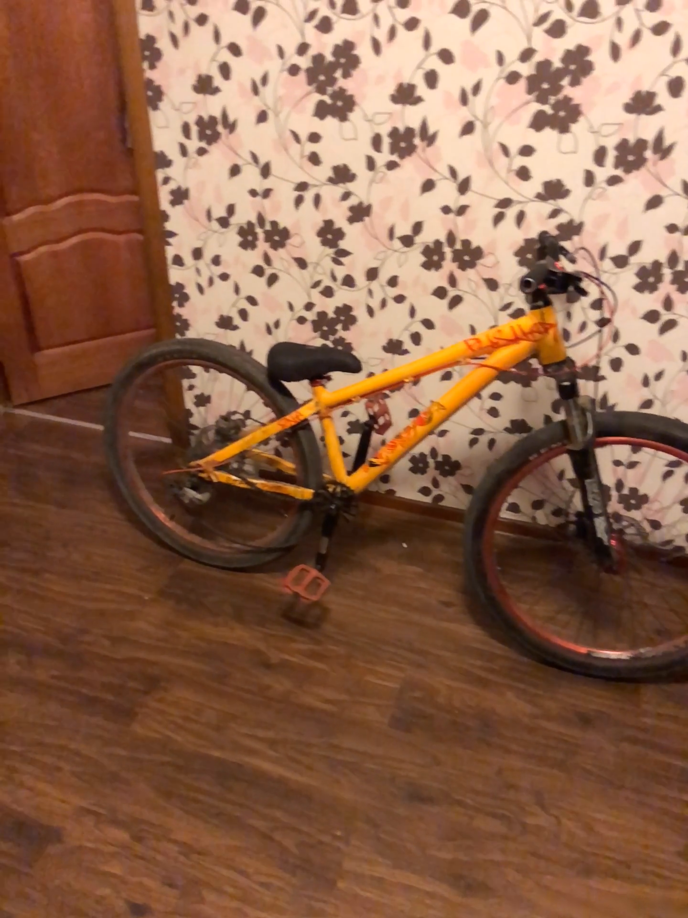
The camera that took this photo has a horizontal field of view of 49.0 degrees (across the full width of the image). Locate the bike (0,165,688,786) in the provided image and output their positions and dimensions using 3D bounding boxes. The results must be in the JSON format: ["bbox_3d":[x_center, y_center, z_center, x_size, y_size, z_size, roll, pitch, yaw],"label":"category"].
[{"bbox_3d":[0.100,-0.087,1.758,1.676,1.005,0.664,9,33,20],"label":"bike"}]
